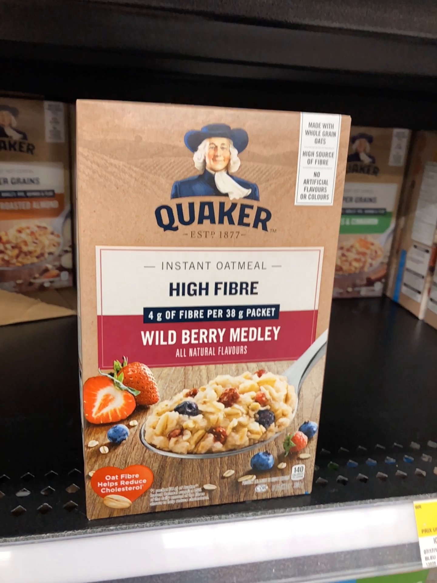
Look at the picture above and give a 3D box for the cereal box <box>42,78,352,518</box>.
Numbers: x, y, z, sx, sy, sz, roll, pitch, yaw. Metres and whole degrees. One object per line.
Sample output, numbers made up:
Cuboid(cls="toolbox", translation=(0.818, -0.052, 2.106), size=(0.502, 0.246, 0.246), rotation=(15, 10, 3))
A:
Cuboid(cls="cereal box", translation=(-0.015, 0.005, 0.255), size=(0.130, 0.199, 0.060), rotation=(-1, 15, -12))
